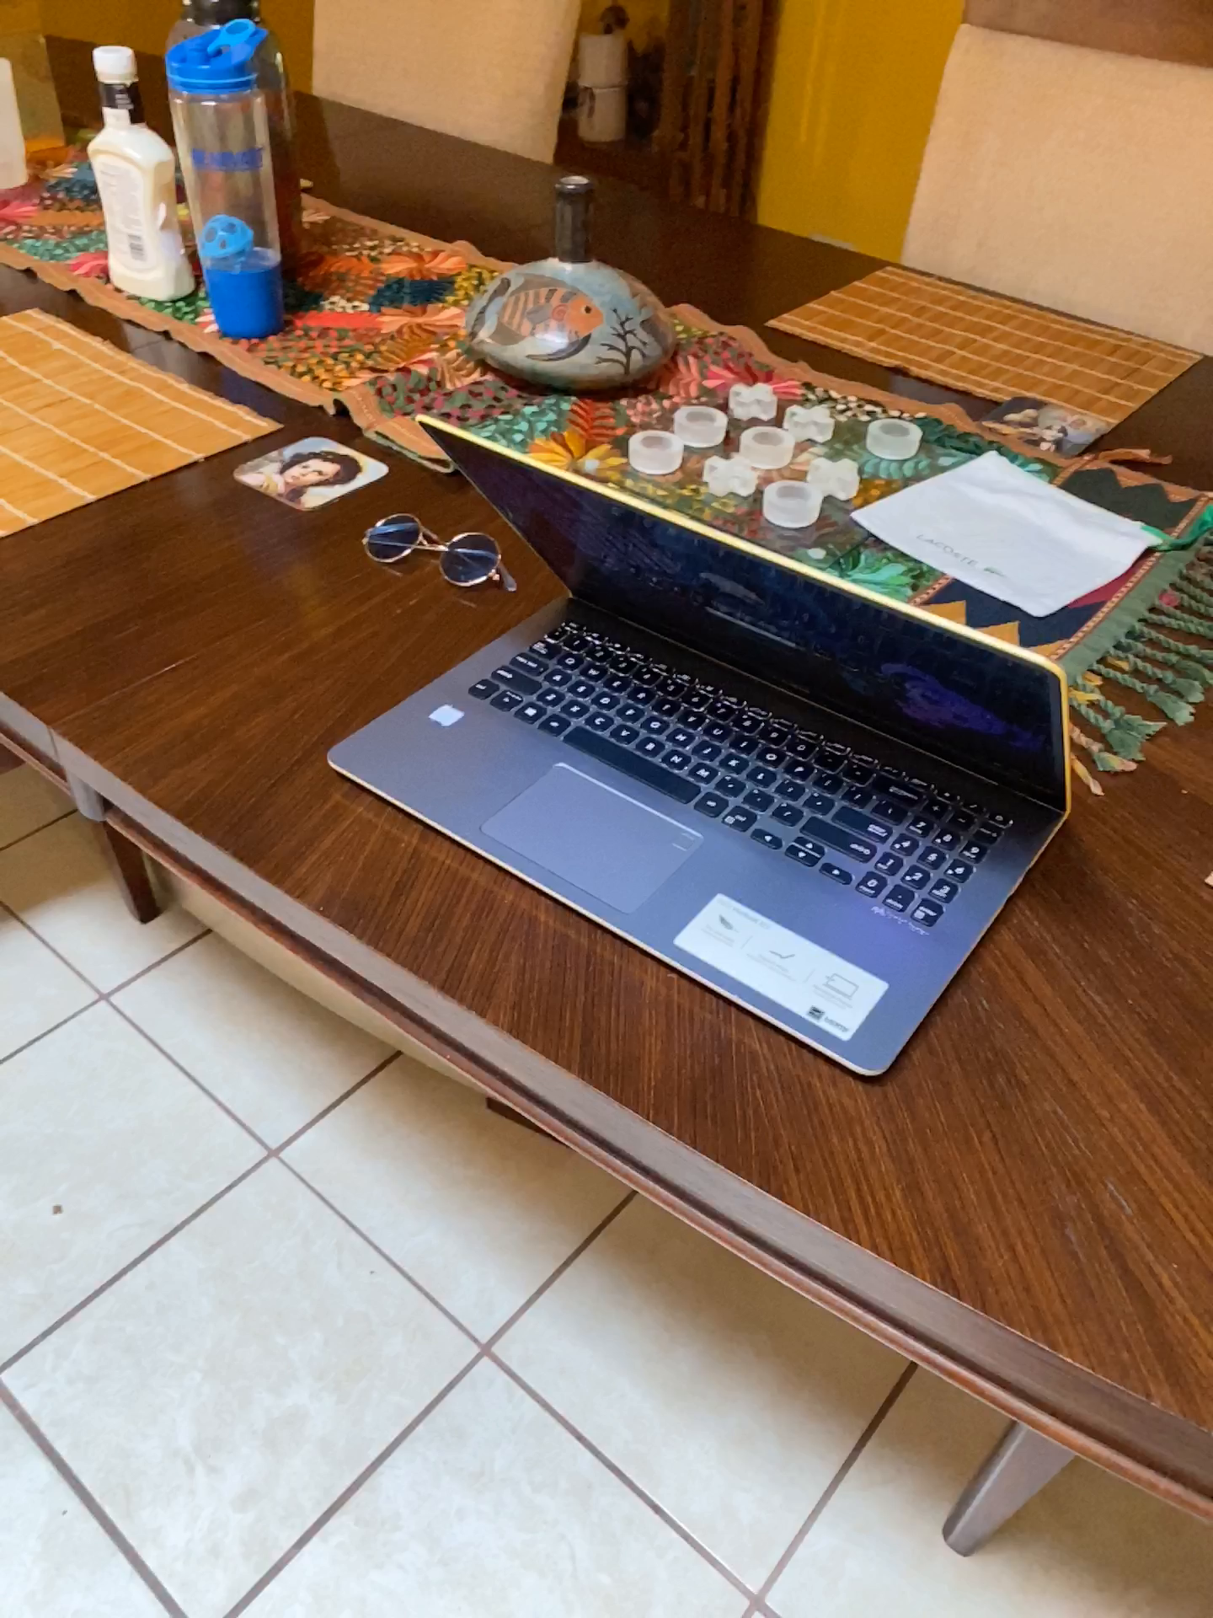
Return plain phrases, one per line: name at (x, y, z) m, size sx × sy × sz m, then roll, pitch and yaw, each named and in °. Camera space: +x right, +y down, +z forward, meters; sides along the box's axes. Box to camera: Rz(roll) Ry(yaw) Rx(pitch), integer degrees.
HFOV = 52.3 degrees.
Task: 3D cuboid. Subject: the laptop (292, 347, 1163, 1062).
laptop at (0.058, -0.087, 0.702) m, size 0.377 × 0.181 × 0.251 m, roll 28°, pitch 46°, yaw 24°
